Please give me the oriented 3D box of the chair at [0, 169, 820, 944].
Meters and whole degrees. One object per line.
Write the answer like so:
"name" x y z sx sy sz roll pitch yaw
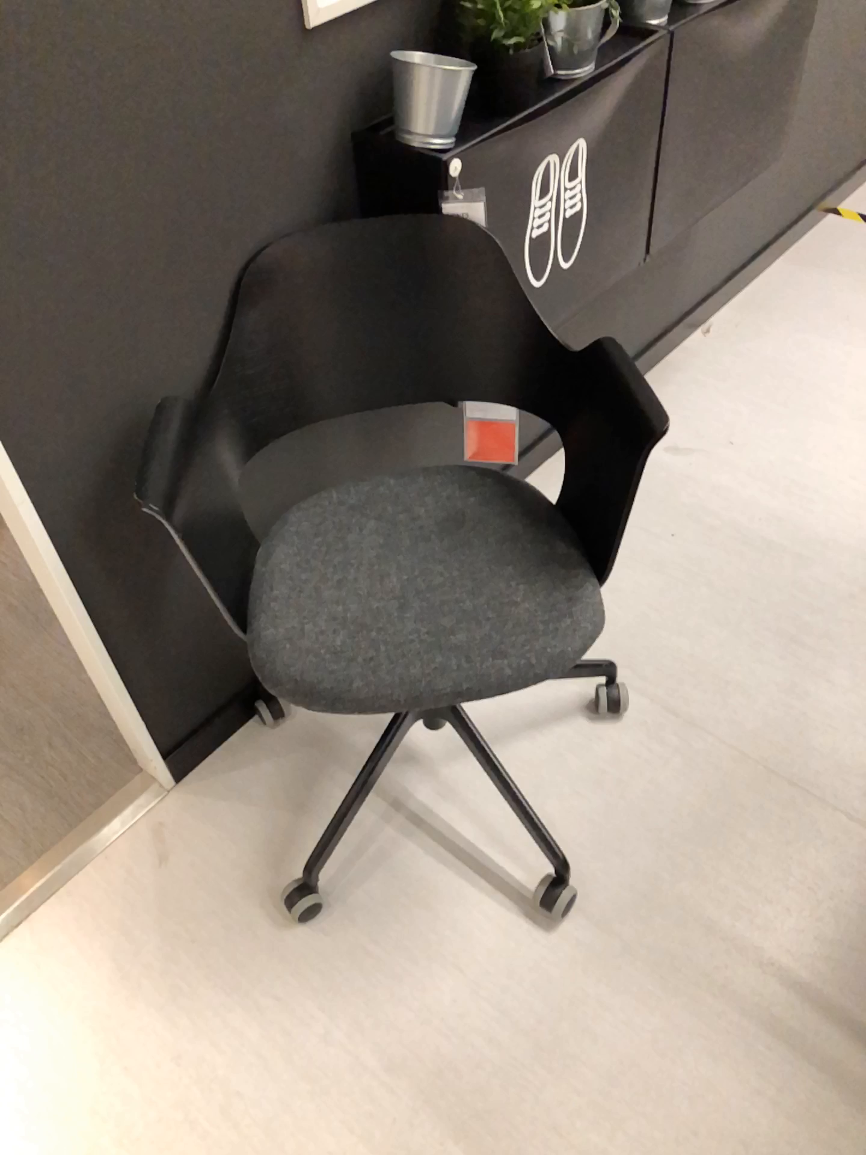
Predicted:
"chair" -0.019 0.012 1.191 0.660 0.755 0.564 -4 47 2
